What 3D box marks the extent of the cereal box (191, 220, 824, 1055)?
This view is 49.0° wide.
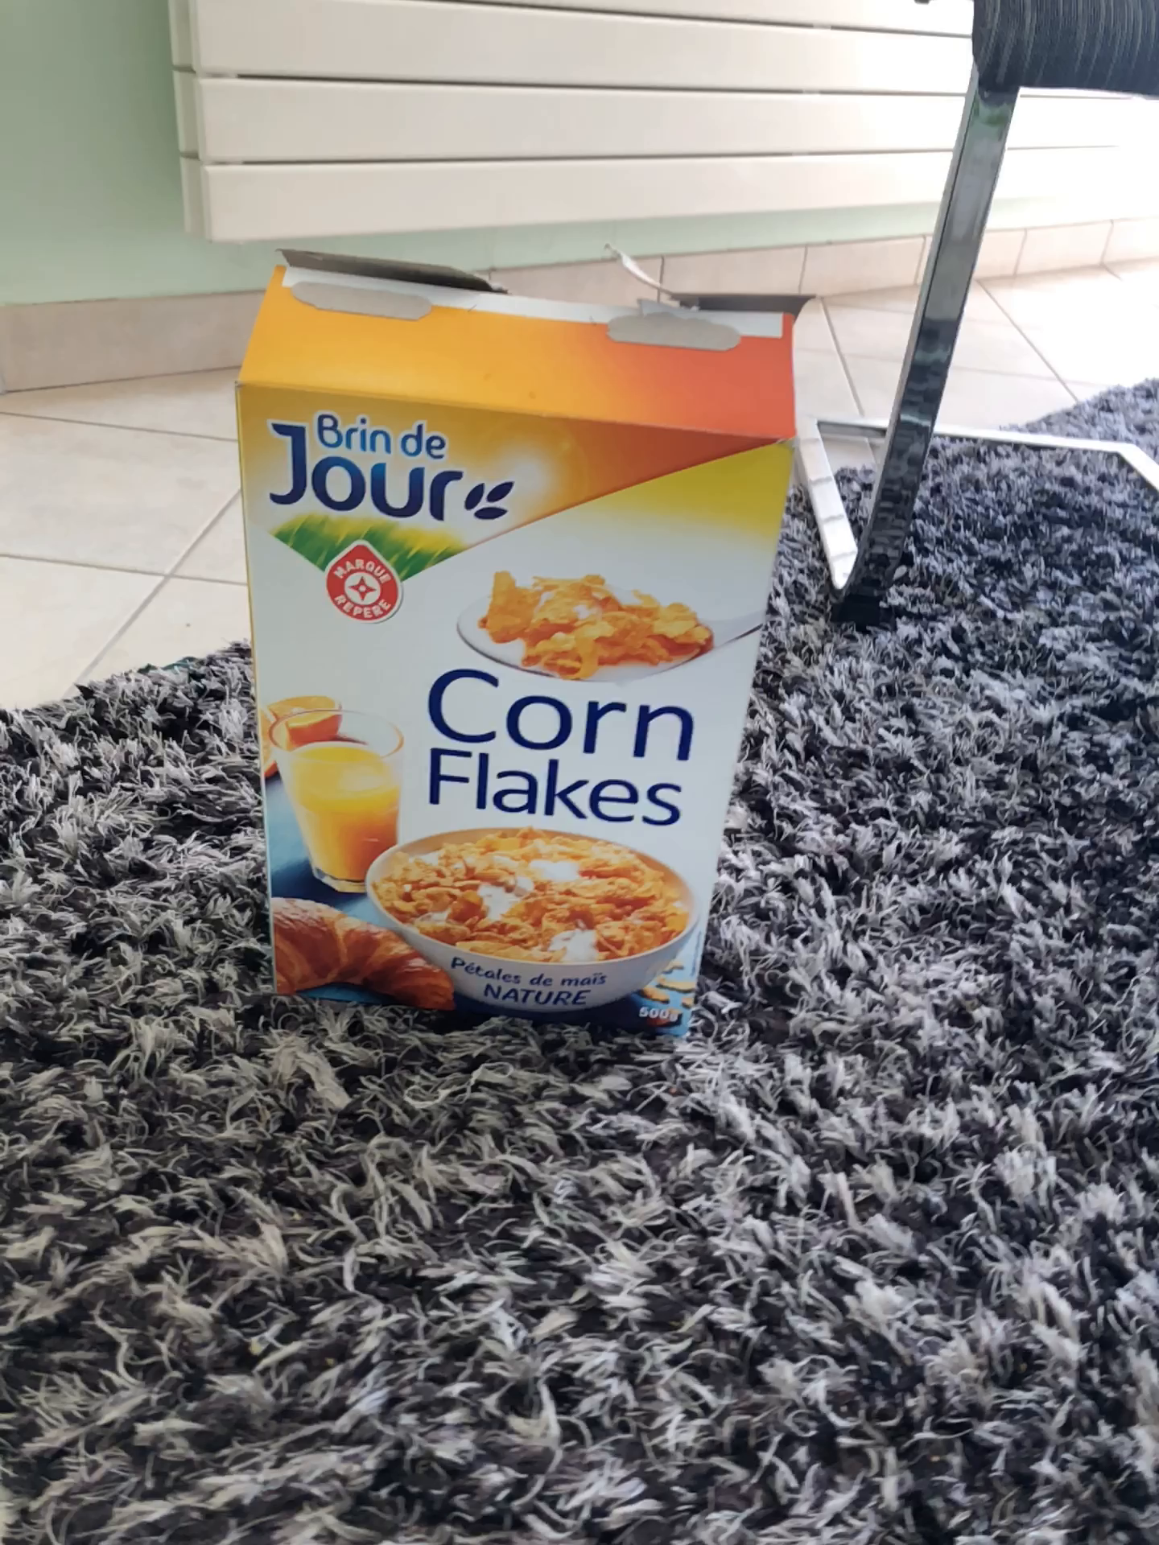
[{"bbox_3d":[-0.034,-0.042,0.524,0.200,0.308,0.101,7,33,0],"label":"cereal box"}]
